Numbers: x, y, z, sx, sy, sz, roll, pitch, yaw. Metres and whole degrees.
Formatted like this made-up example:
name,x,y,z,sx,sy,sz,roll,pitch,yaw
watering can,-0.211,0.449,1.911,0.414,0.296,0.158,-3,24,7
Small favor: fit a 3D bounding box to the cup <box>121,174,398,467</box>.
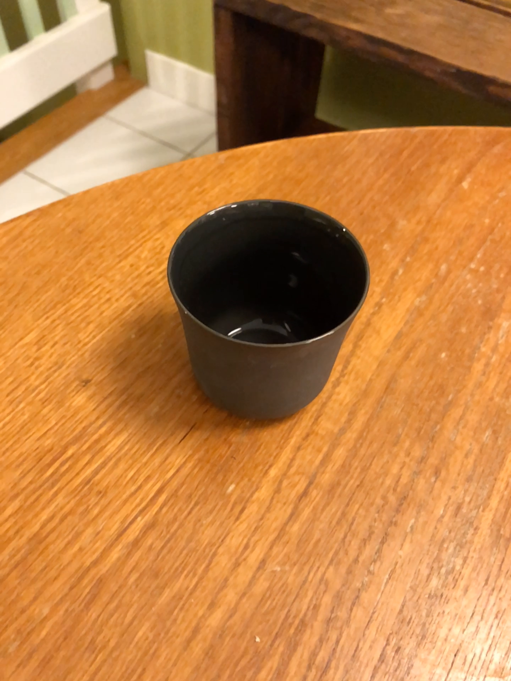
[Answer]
name,x,y,z,sx,sy,sz,roll,pitch,yaw
cup,0.003,-0.009,0.238,0.079,0.068,0.075,1,54,-2
